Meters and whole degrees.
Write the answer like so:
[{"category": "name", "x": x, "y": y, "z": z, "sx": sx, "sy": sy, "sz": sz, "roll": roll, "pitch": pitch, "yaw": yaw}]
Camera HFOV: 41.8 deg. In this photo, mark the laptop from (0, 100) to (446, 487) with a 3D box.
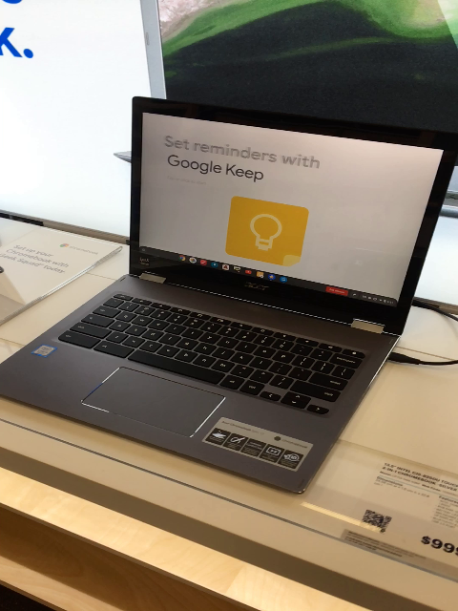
[{"category": "laptop", "x": -0.026, "y": -0.034, "z": 0.543, "sx": 0.316, "sy": 0.203, "sz": 0.273, "roll": 17, "pitch": 43, "yaw": 20}]
